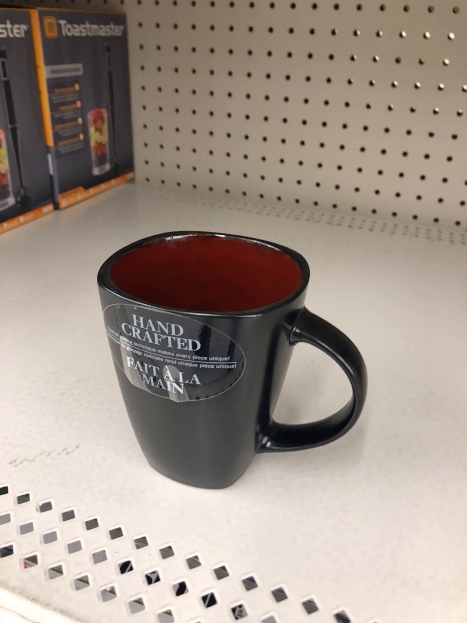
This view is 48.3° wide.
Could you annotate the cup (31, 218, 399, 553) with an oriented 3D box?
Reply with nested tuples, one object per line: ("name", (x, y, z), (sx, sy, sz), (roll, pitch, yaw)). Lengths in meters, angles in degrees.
("cup", (-0.002, 0.025, 0.262), (0.143, 0.099, 0.100), (11, 29, 16))
